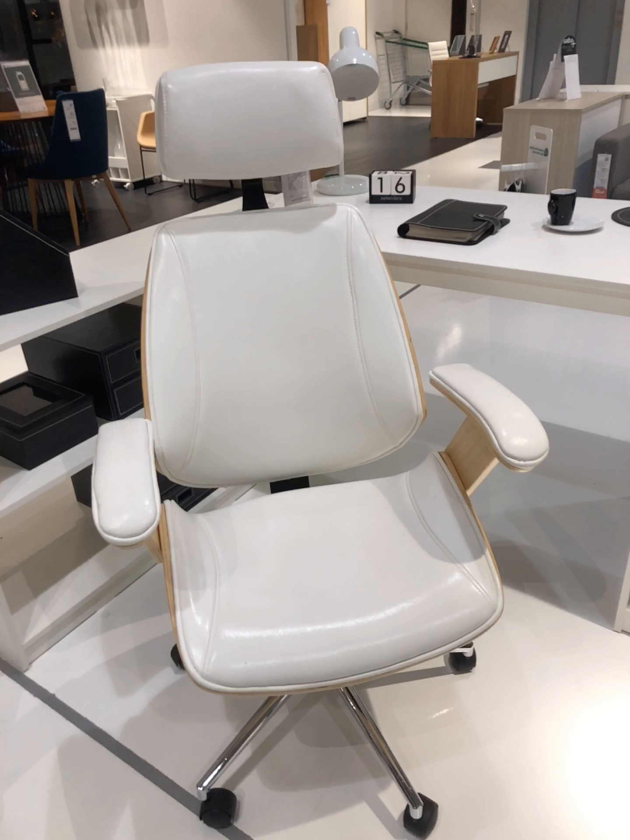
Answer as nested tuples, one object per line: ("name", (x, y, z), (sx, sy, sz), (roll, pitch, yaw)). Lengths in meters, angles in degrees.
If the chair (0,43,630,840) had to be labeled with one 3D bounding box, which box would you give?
("chair", (-0.009, 0.036, 1.125), (0.670, 1.101, 0.705), (-9, 29, -9))
